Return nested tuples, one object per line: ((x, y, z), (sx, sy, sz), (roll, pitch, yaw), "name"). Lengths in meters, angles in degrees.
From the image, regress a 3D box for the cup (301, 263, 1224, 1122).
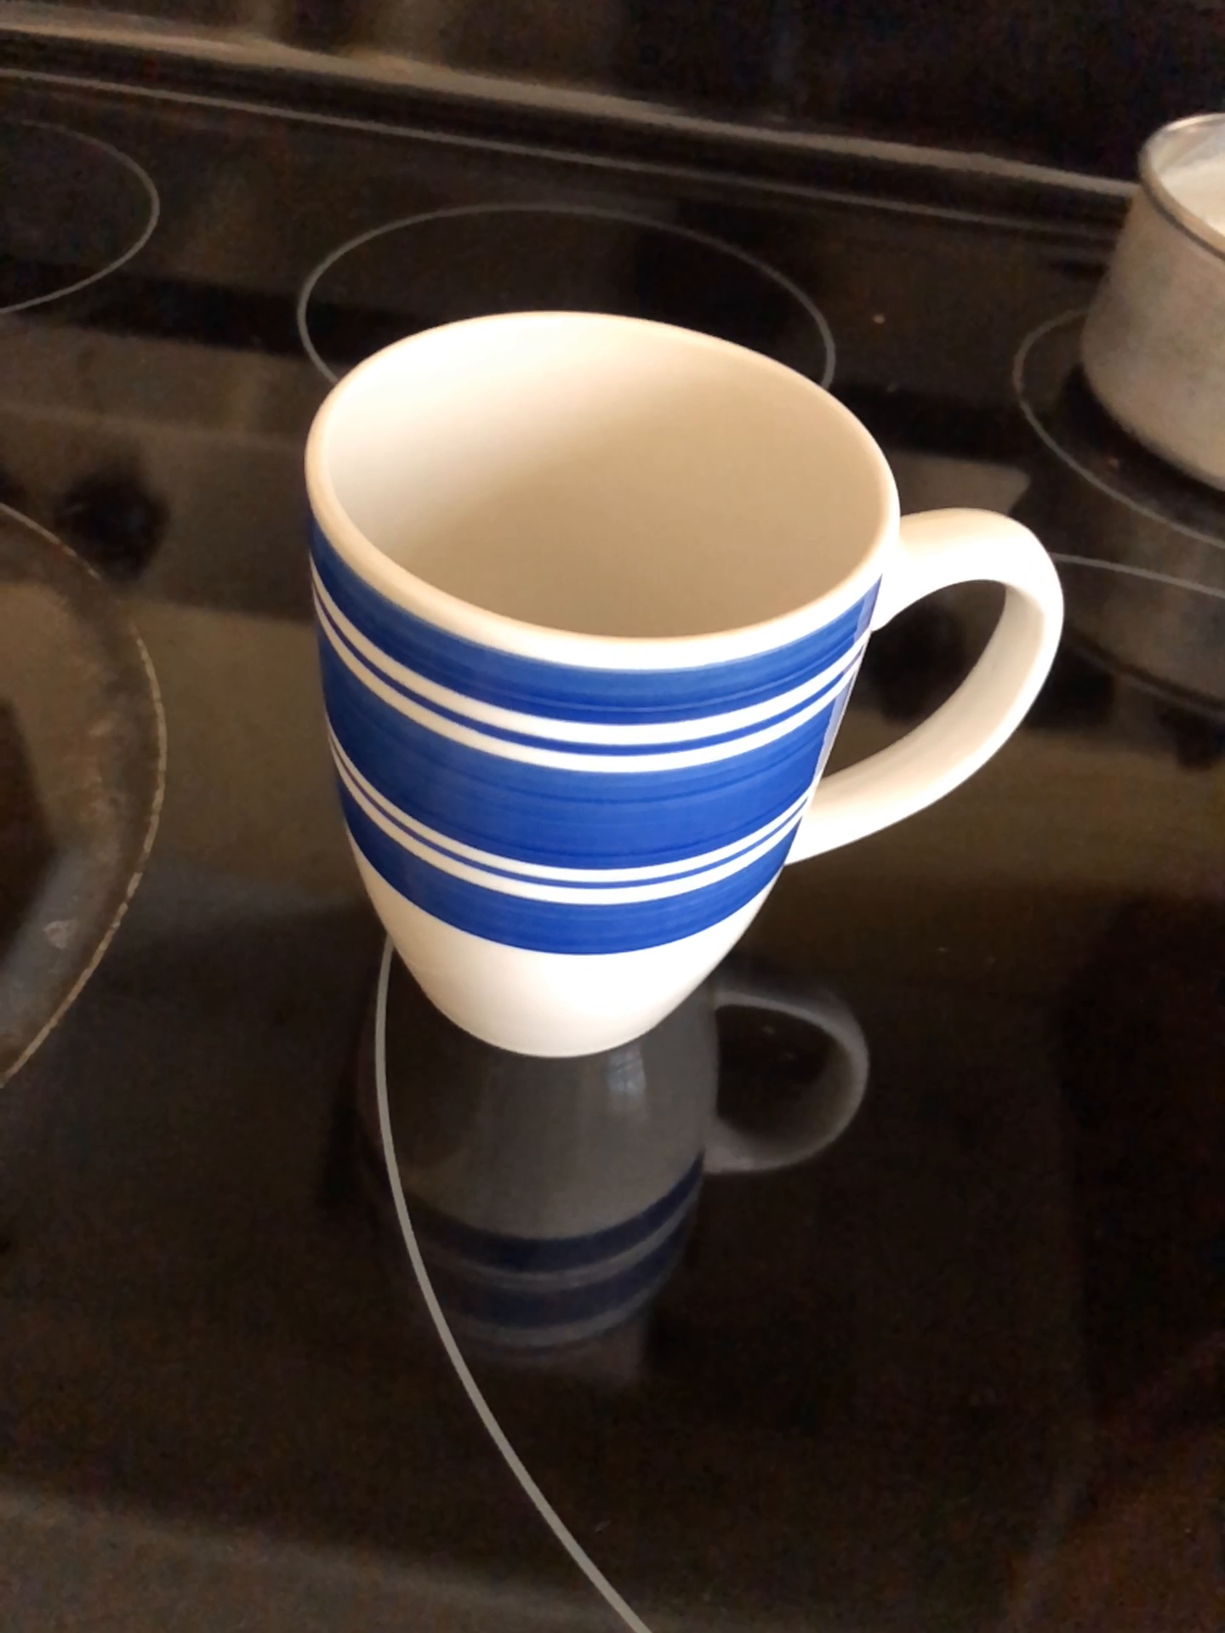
((0.020, -0.021, 0.209), (0.120, 0.090, 0.080), (-6, 48, -13), "cup")
